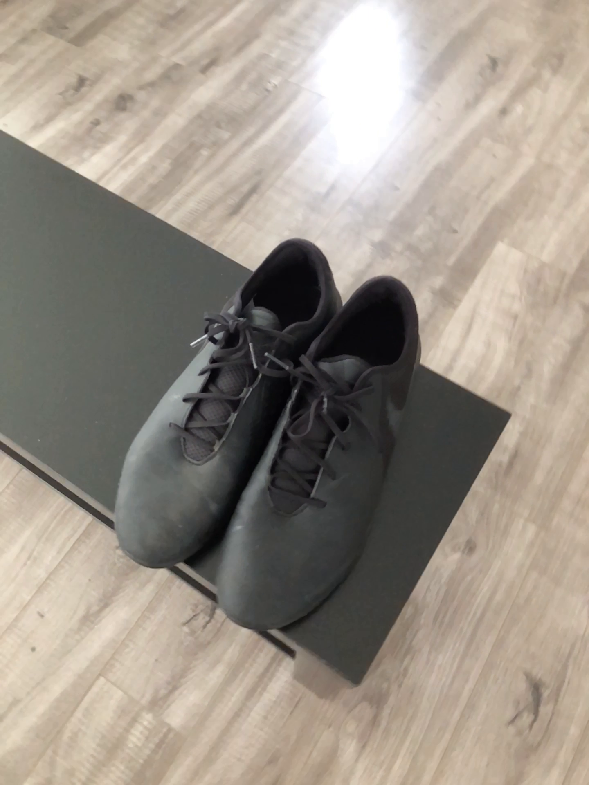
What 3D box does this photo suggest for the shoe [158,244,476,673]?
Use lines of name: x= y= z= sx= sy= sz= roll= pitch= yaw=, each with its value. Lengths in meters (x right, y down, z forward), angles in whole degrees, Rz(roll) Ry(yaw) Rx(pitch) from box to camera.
shoe: x=0.027 y=0.043 z=0.493 sx=0.100 sy=0.110 sz=0.293 roll=25 pitch=65 yaw=11

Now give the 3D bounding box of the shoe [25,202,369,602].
shoe: x=-0.059 y=0.001 z=0.517 sx=0.100 sy=0.110 sz=0.293 roll=28 pitch=66 yaw=12
